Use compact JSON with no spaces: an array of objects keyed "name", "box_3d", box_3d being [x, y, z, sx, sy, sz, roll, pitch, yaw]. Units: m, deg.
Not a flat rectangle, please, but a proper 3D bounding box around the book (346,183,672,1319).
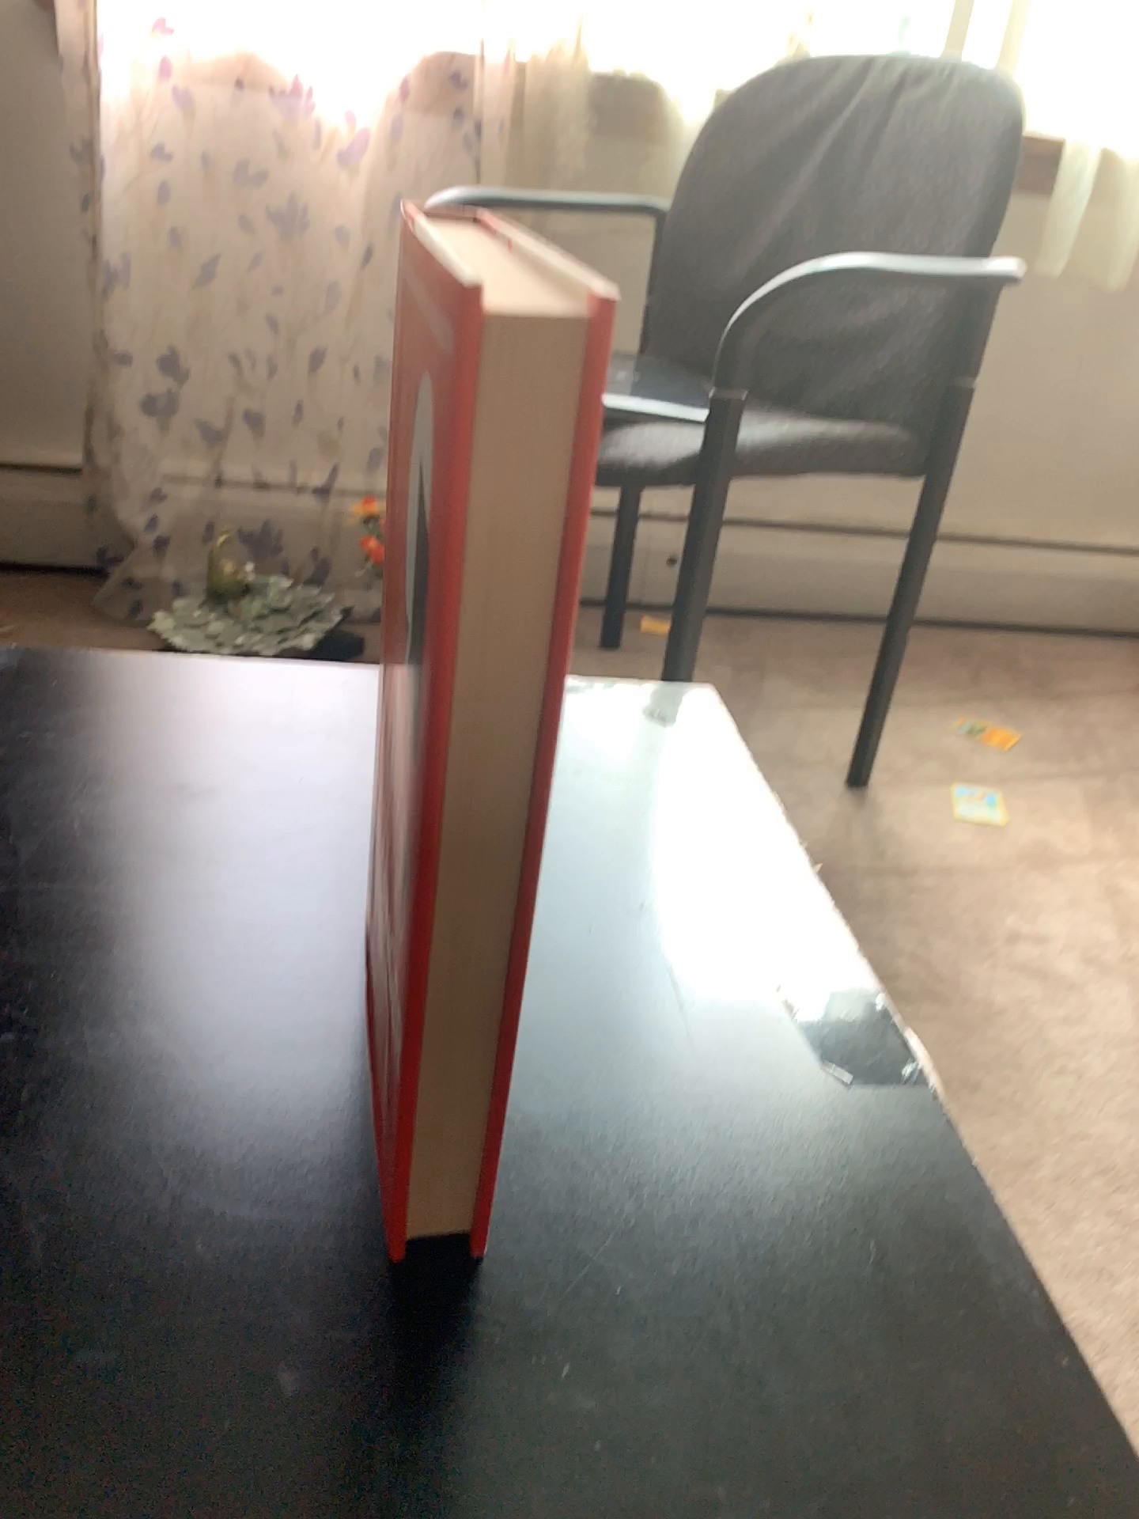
[{"name":"book","box_3d":[-0.033,-0.012,0.306,0.040,0.238,0.171,1,27,-12]}]
